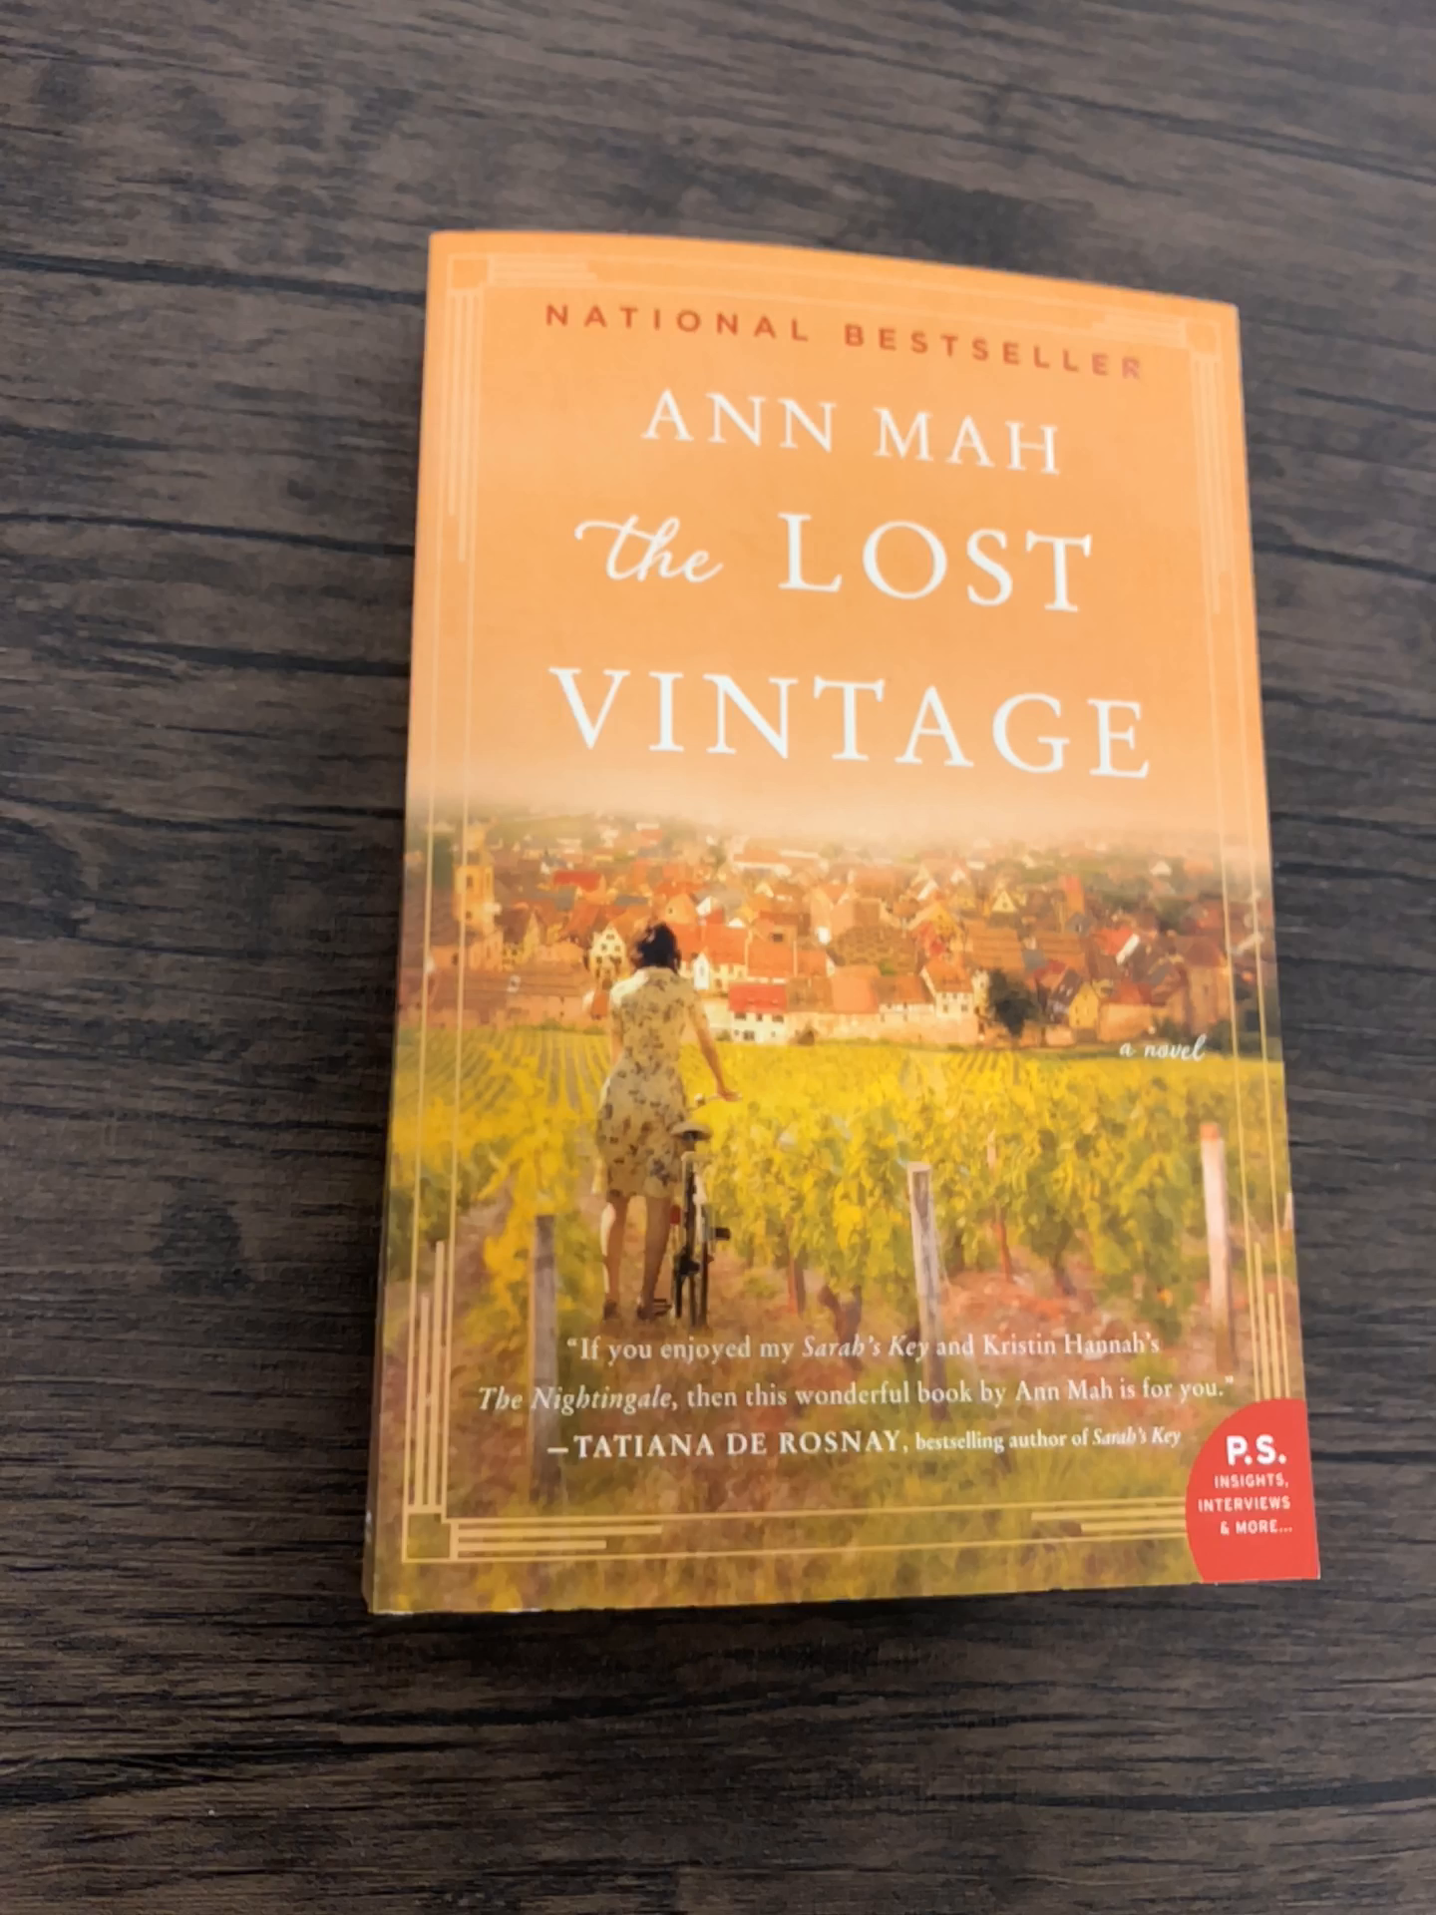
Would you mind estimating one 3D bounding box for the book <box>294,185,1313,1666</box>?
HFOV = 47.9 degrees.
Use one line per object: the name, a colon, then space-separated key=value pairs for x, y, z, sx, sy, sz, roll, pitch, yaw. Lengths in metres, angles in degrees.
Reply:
book: x=0.011 y=-0.007 z=0.245 sx=0.134 sy=0.040 sz=0.200 roll=2 pitch=79 yaw=-10
